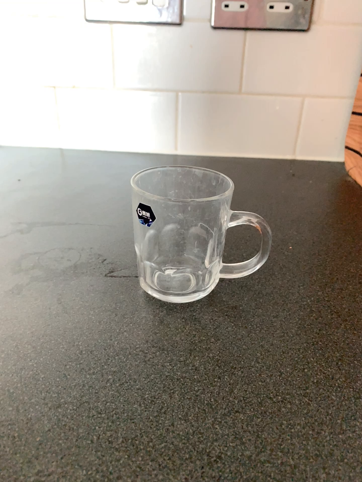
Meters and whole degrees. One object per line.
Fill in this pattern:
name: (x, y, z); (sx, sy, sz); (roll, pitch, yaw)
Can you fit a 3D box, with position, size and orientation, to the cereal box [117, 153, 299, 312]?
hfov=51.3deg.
cereal box: (0.016, -0.010, 0.285); (0.110, 0.089, 0.081); (2, 27, 0)
